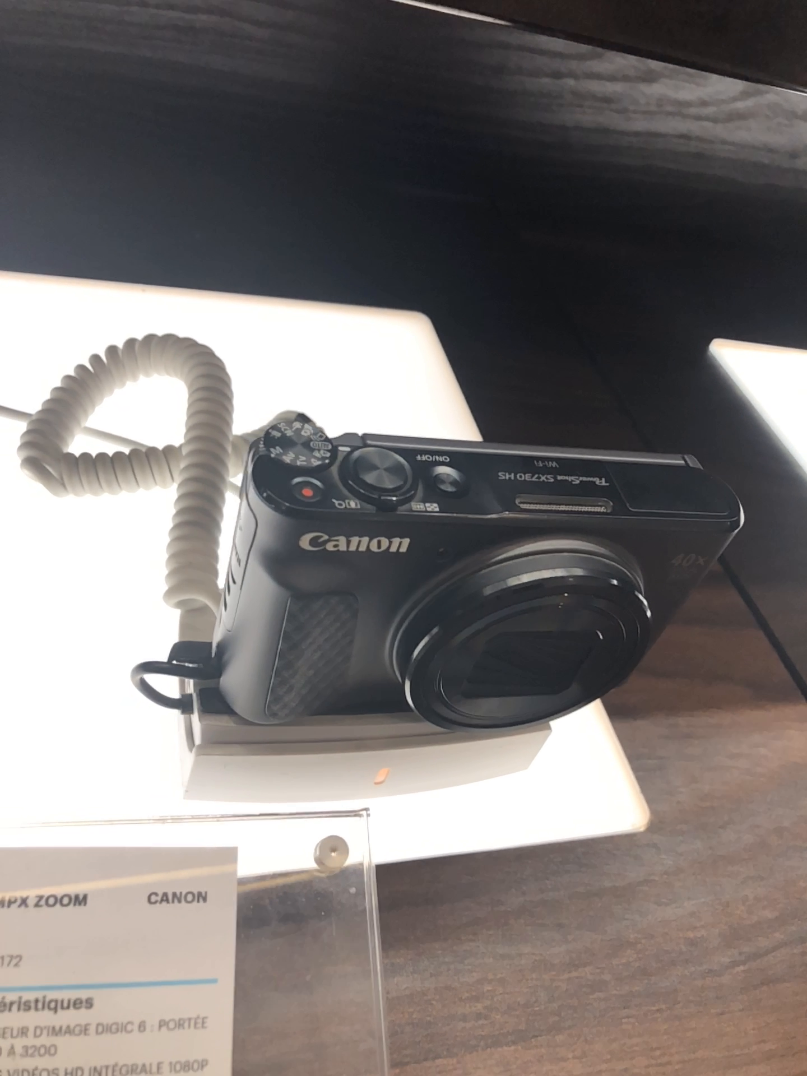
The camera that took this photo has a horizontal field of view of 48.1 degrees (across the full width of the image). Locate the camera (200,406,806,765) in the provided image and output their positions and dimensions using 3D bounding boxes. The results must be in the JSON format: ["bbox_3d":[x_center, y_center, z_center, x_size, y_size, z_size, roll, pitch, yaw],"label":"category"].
[{"bbox_3d":[0.018,0.013,0.202,0.114,0.069,0.035,1,45,-20],"label":"camera"}]
